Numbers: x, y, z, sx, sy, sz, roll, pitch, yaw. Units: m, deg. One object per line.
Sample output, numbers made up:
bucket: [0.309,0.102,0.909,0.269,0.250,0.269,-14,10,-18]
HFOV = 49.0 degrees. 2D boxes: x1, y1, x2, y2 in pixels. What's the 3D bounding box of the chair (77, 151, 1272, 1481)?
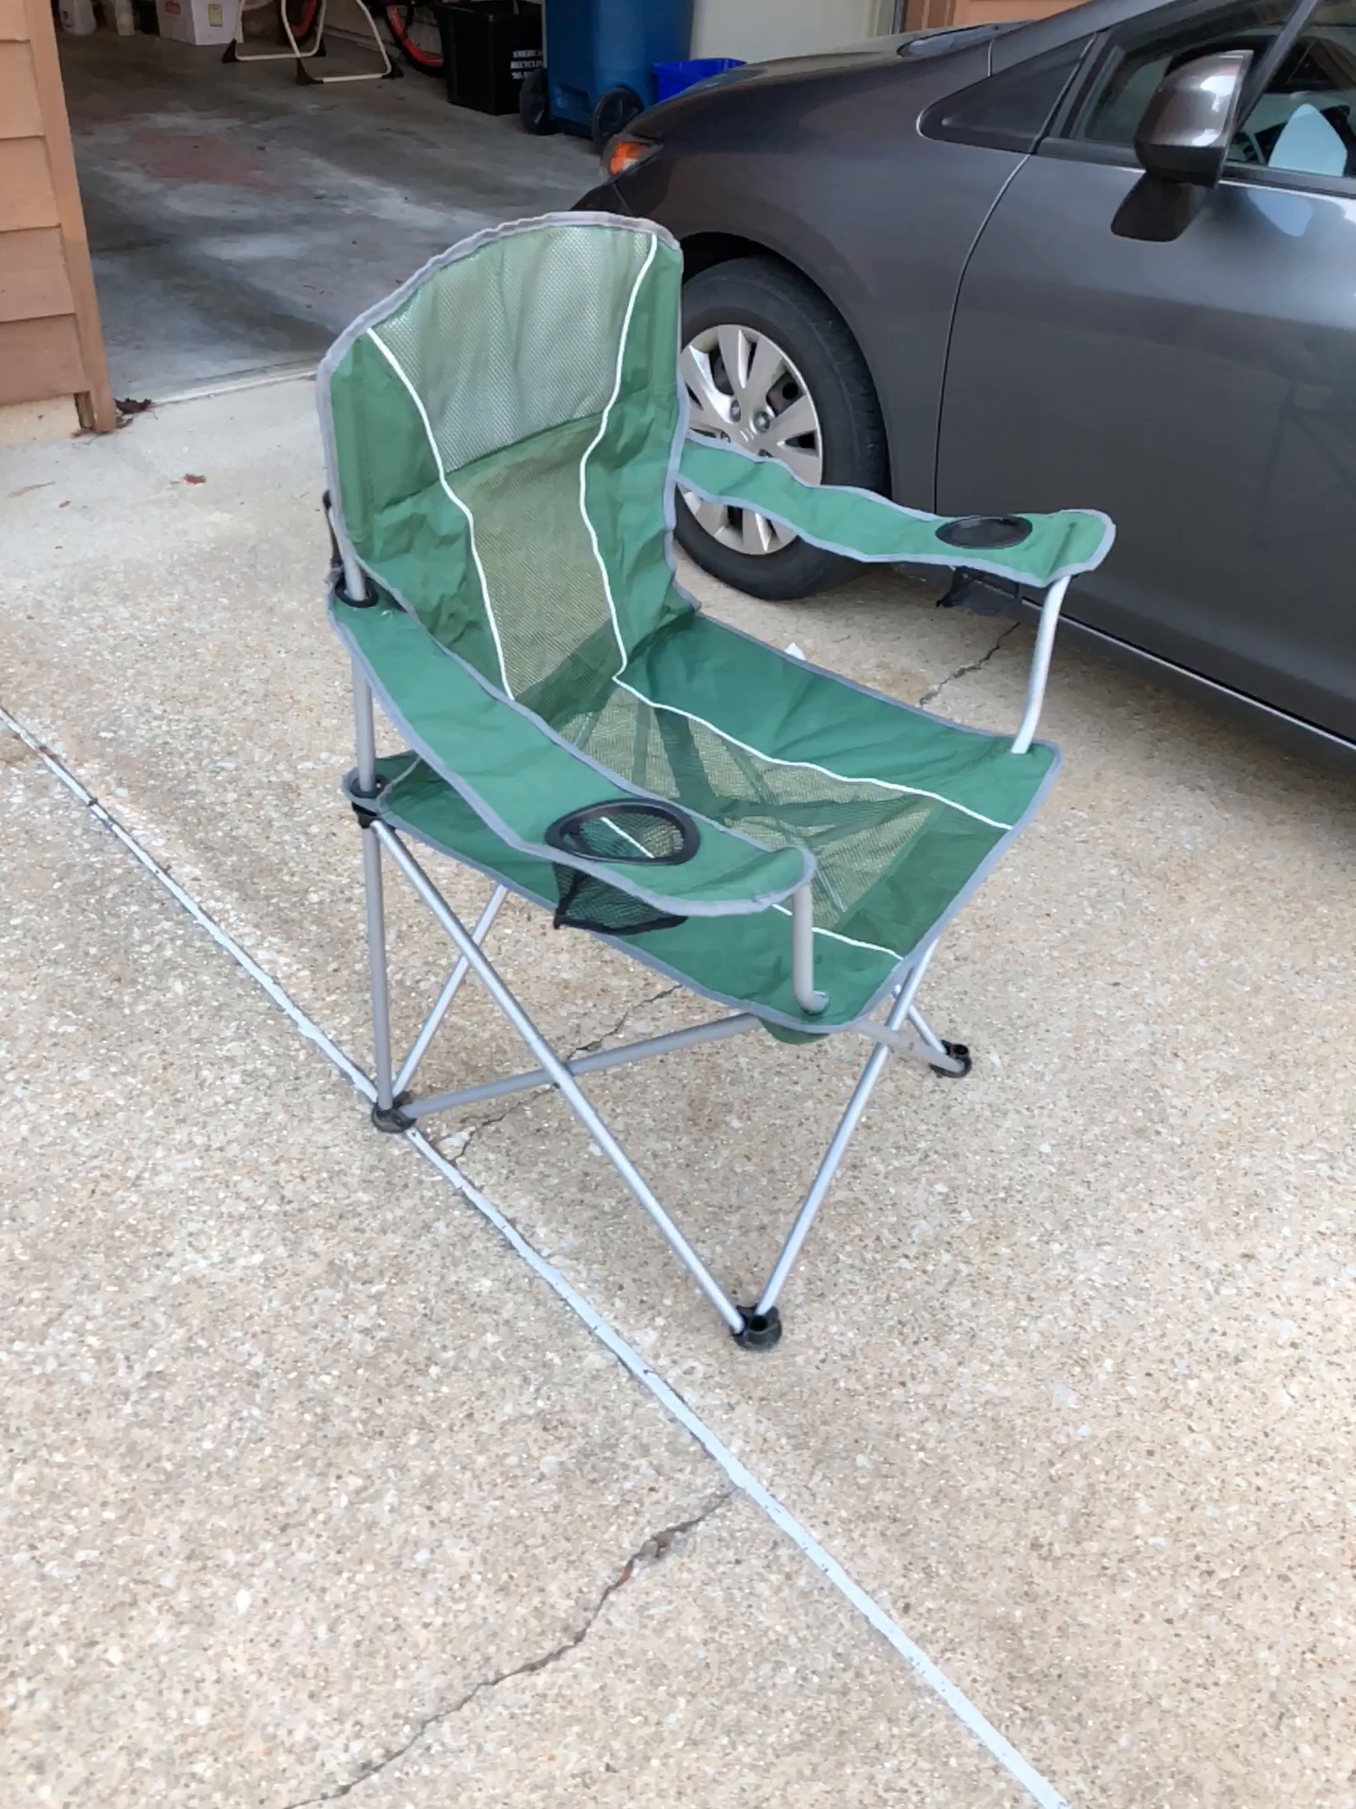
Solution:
chair: [0.034,-0.156,1.491,0.640,0.907,0.822,23,40,24]
